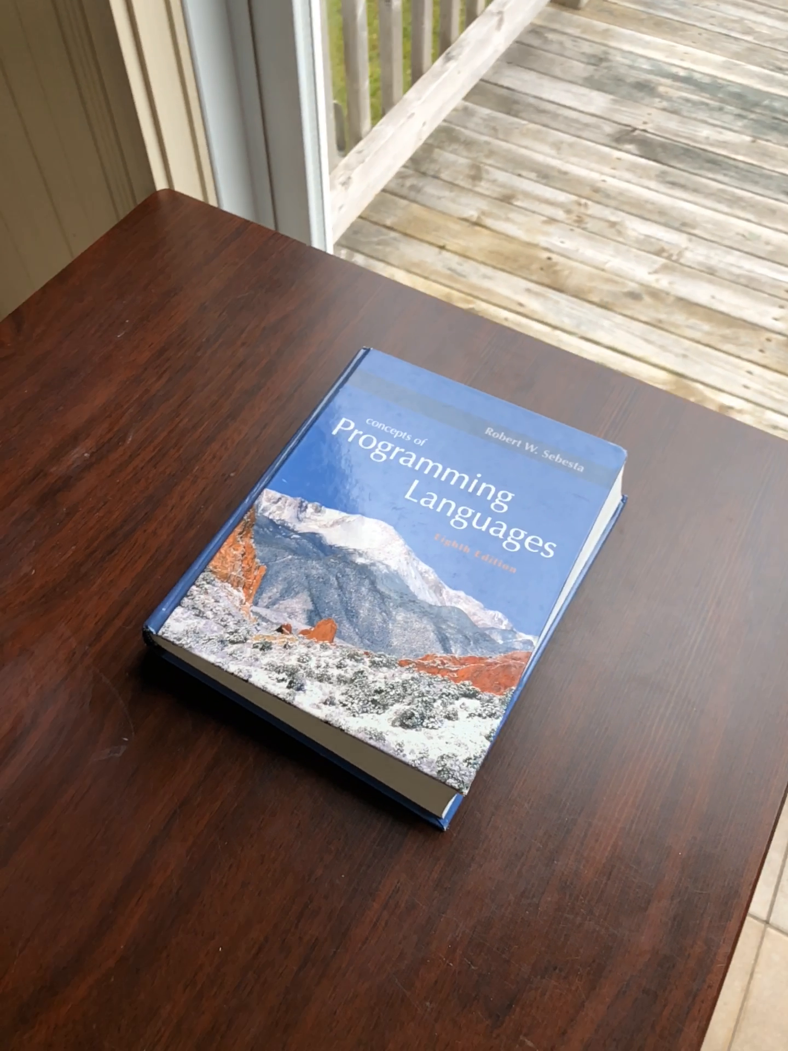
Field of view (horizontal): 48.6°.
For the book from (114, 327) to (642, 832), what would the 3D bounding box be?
[{"bbox_3d":[0.000,0.013,0.497,0.195,0.048,0.237,26,60,16],"label":"book"}]
